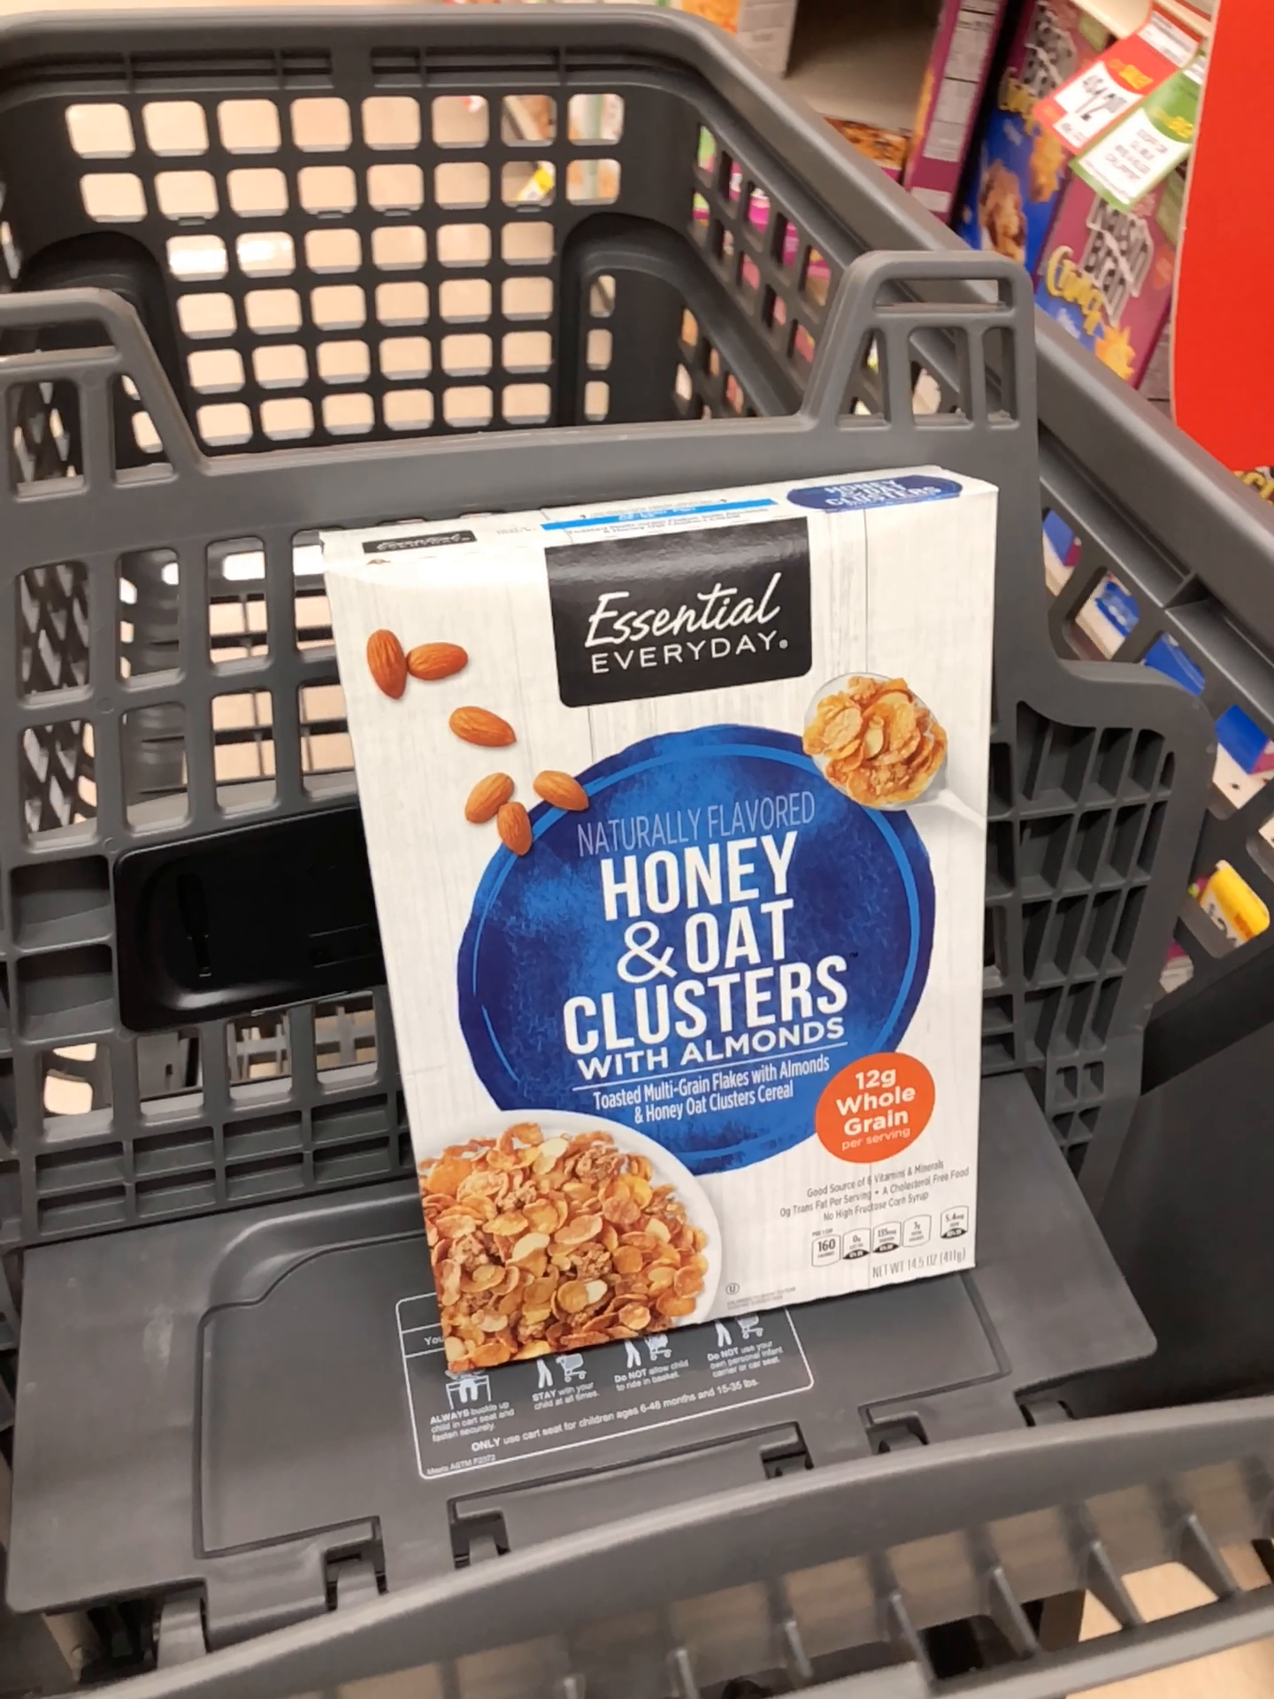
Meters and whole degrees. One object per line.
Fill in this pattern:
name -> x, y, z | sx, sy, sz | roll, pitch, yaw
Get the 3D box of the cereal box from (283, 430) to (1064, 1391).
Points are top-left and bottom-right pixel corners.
cereal box -> 0.017, 0.023, 0.450 | 0.210, 0.280, 0.060 | -8, 24, -10
